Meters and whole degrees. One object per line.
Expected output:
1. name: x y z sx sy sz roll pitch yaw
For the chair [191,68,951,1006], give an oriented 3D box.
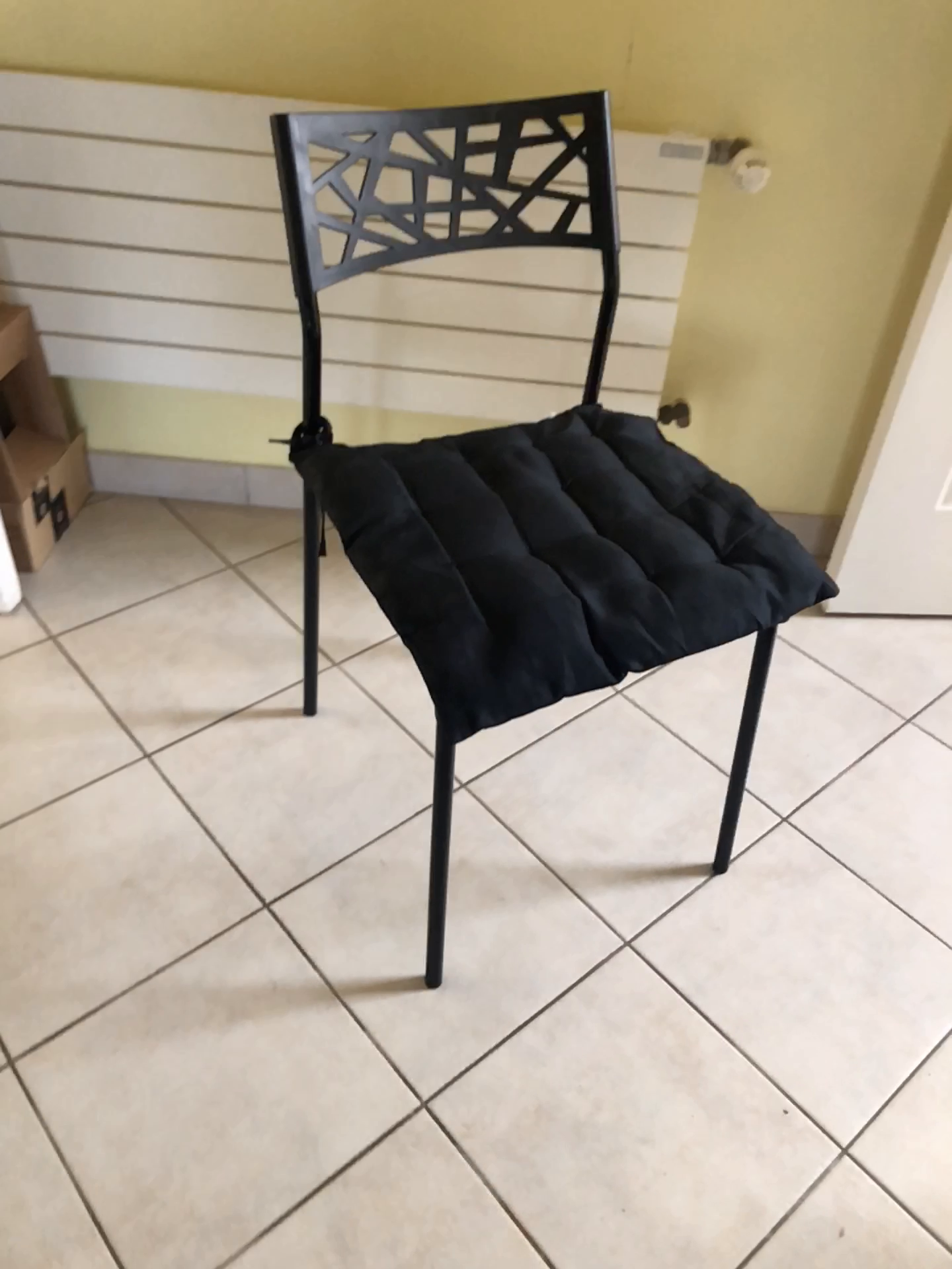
1. chair: 0.069 -0.119 1.111 0.522 0.735 0.522 -16 44 -22
